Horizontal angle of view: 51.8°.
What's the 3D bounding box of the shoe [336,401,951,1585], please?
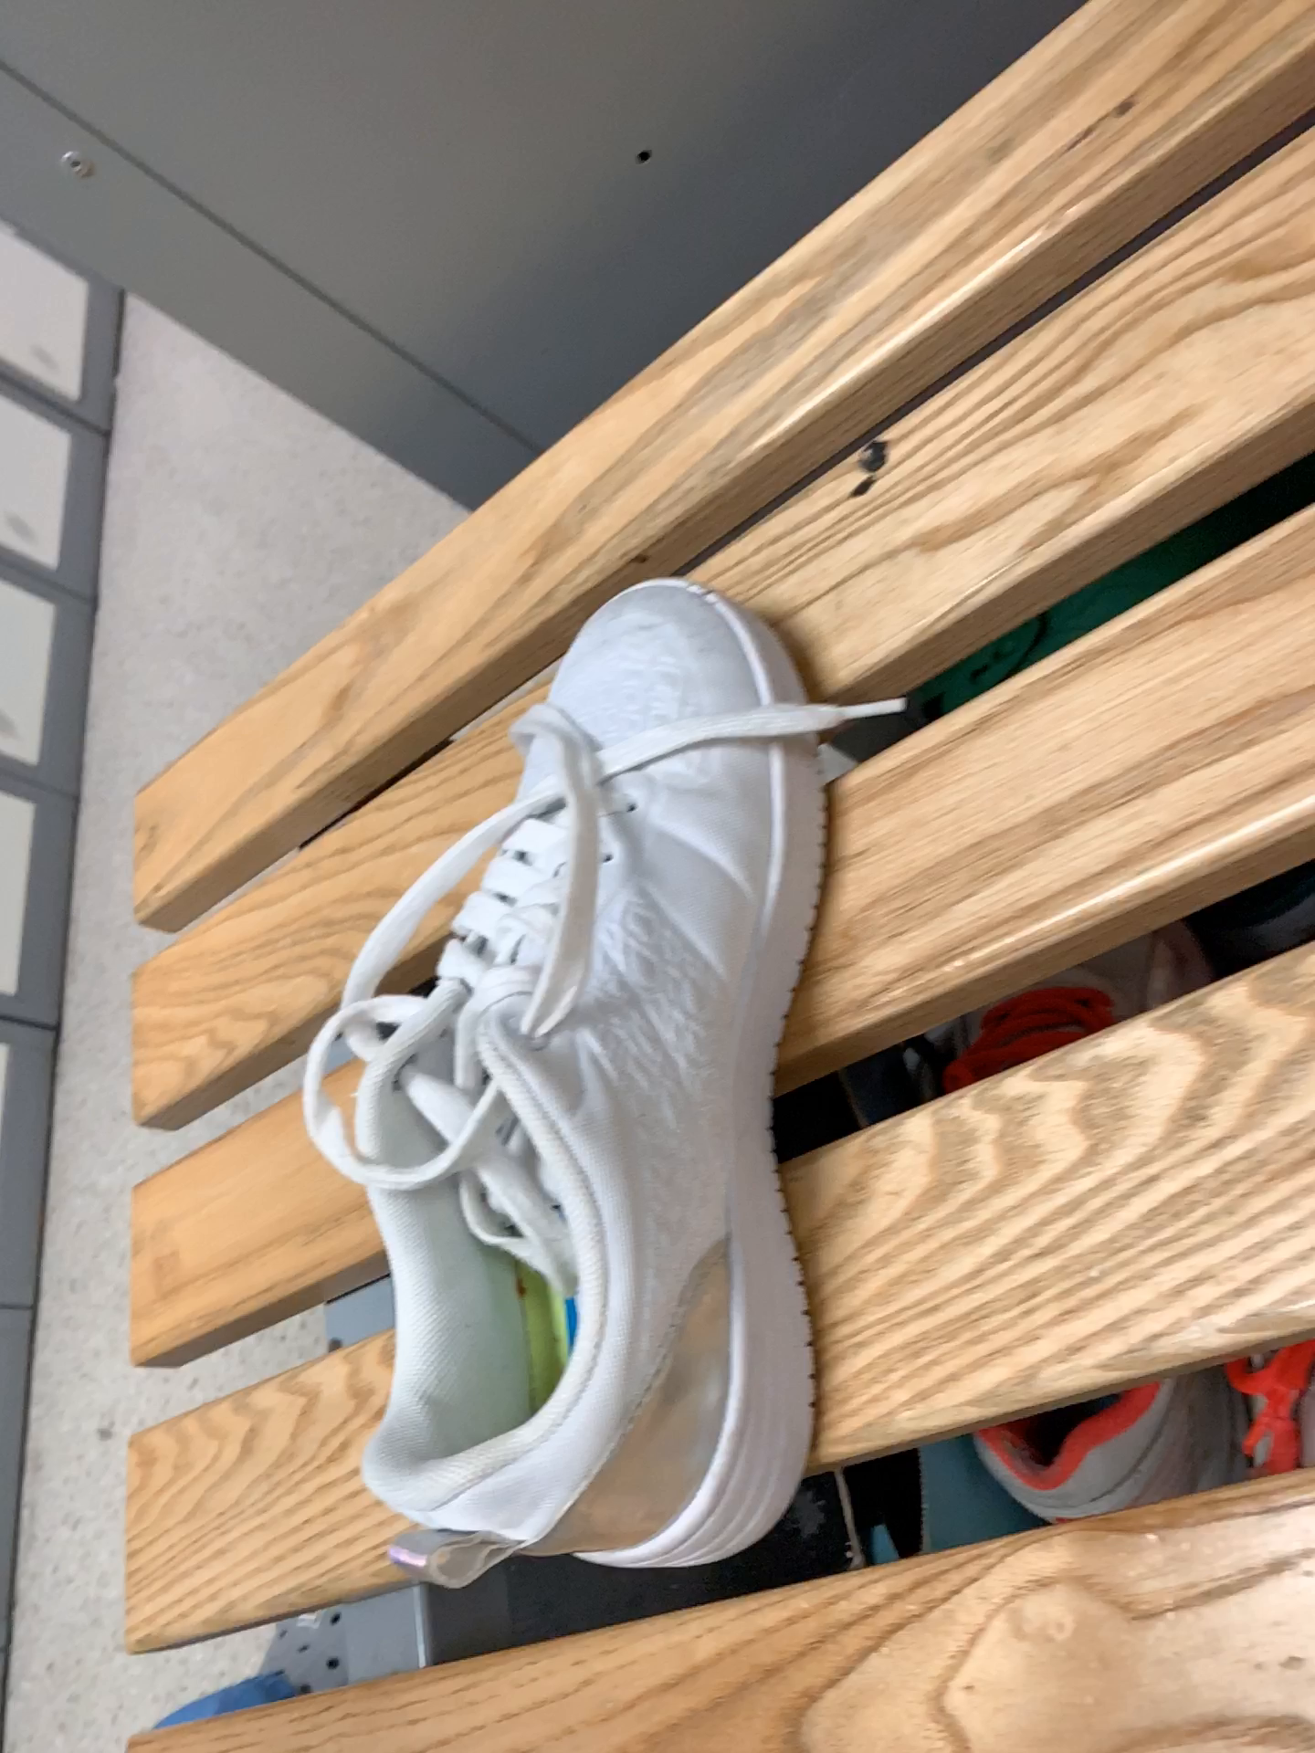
[{"bbox_3d":[-0.008,0.026,0.327,0.100,0.075,0.251,-21,60,35],"label":"shoe"}]
